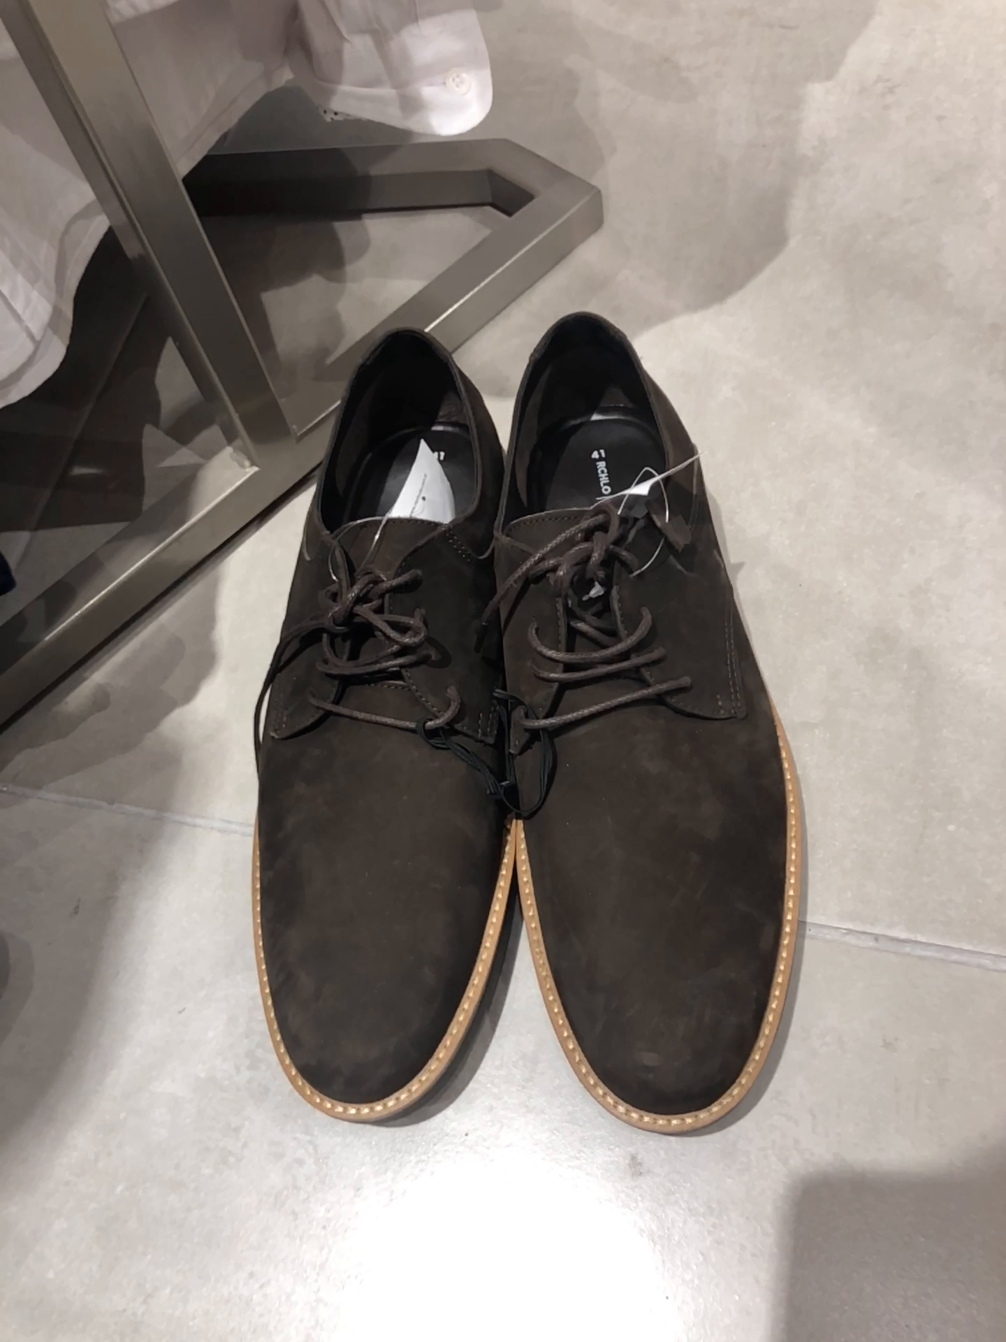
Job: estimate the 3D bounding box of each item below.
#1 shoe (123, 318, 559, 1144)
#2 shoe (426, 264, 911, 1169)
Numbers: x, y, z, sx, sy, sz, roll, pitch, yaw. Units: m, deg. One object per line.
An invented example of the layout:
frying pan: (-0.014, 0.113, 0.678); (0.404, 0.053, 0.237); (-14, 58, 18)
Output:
shoe: (-0.042, 0.018, 0.444); (0.110, 0.119, 0.301); (-2, 61, 9)
shoe: (0.046, 0.010, 0.412); (0.110, 0.119, 0.301); (-9, 60, 6)
